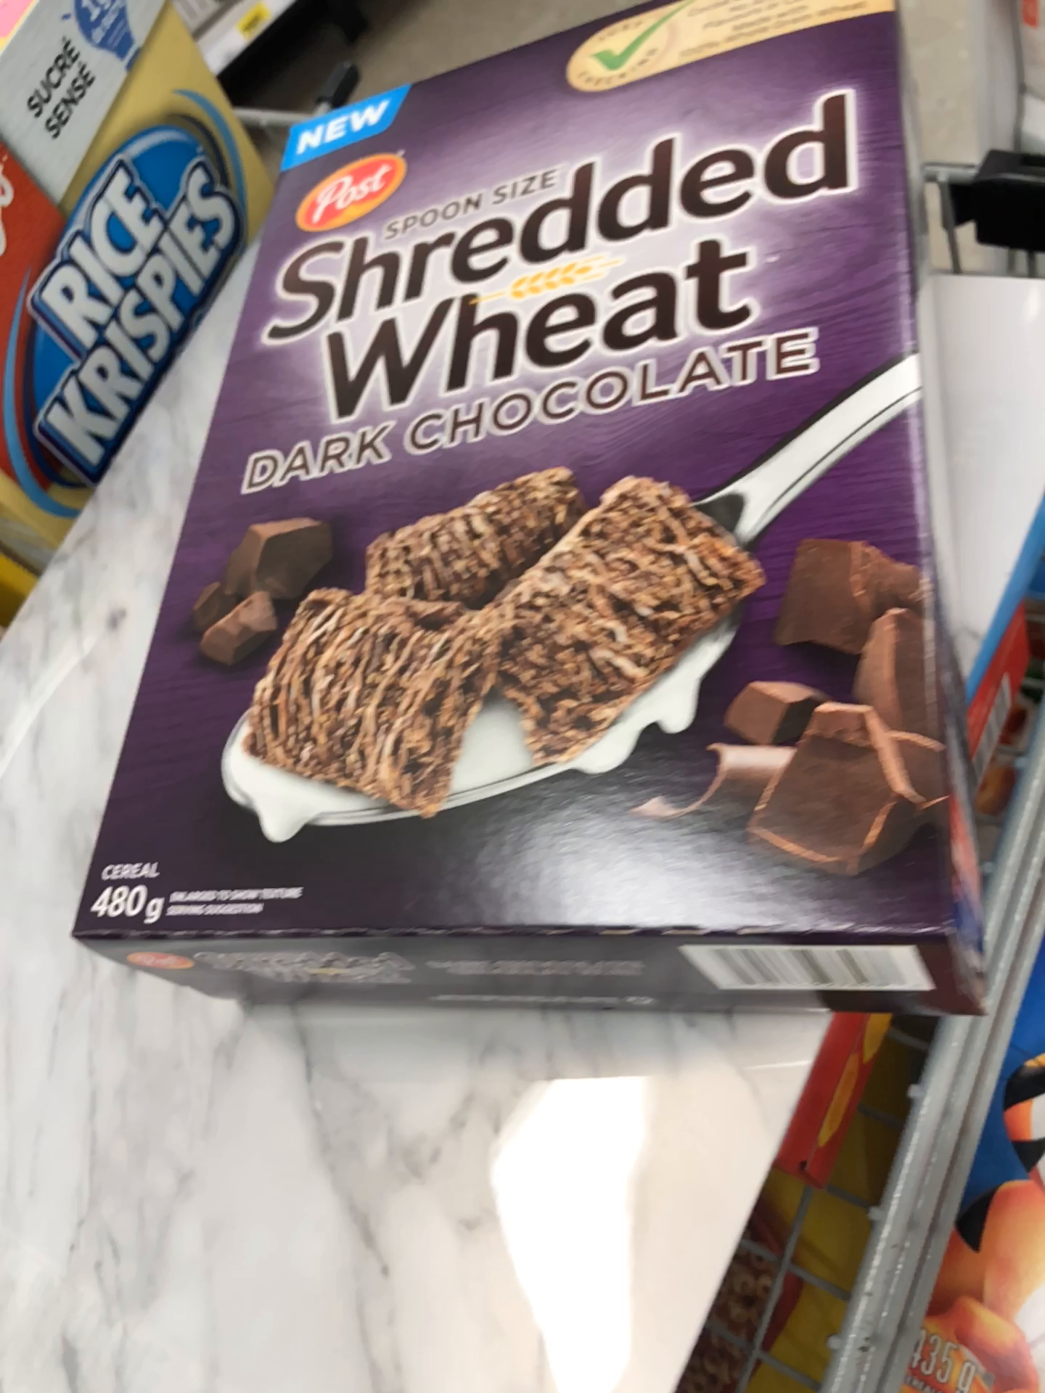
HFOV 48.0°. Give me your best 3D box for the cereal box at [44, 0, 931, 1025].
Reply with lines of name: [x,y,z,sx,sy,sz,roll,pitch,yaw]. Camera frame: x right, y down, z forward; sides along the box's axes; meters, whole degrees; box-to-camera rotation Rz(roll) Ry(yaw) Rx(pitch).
cereal box: [0.003,-0.066,0.327,0.191,0.070,0.290,-5,63,22]
